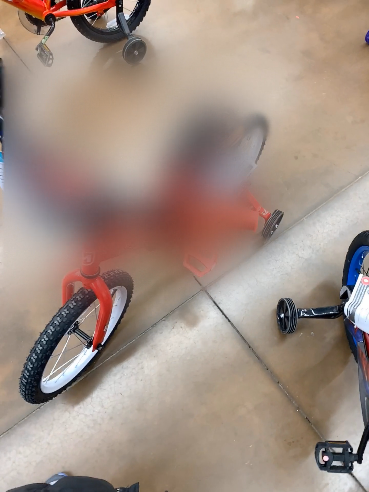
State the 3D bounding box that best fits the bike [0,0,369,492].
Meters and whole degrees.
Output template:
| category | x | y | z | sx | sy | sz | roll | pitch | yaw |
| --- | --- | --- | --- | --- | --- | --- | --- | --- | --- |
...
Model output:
| category | x | y | z | sx | sy | sz | roll | pitch | yaw |
| --- | --- | --- | --- | --- | --- | --- | --- | --- | --- |
| bike | -0.020 | -0.088 | 0.930 | 0.585 | 0.851 | 1.071 | 34 | 66 | 15 |
